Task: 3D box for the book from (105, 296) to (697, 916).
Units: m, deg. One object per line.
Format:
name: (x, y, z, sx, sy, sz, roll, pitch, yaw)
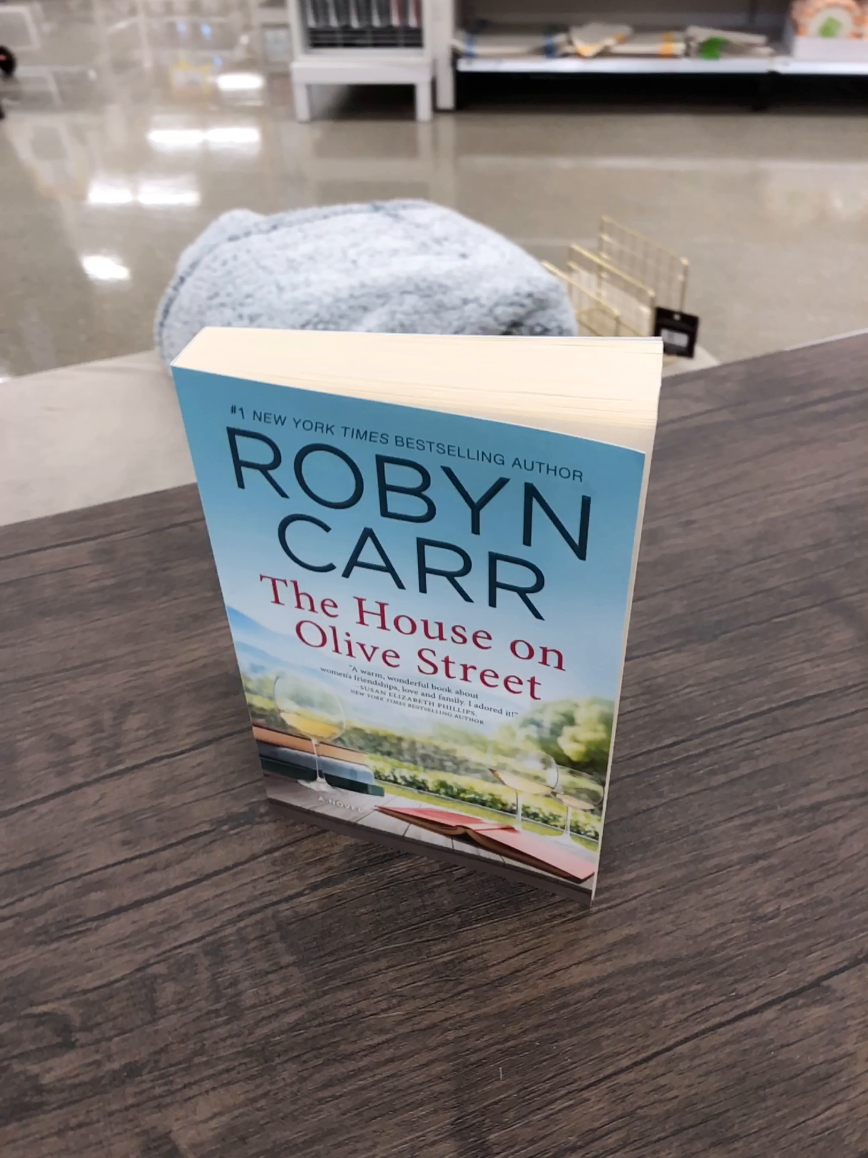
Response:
book: (-0.005, 0.017, 0.315, 0.146, 0.195, 0.050, 9, 41, 14)
